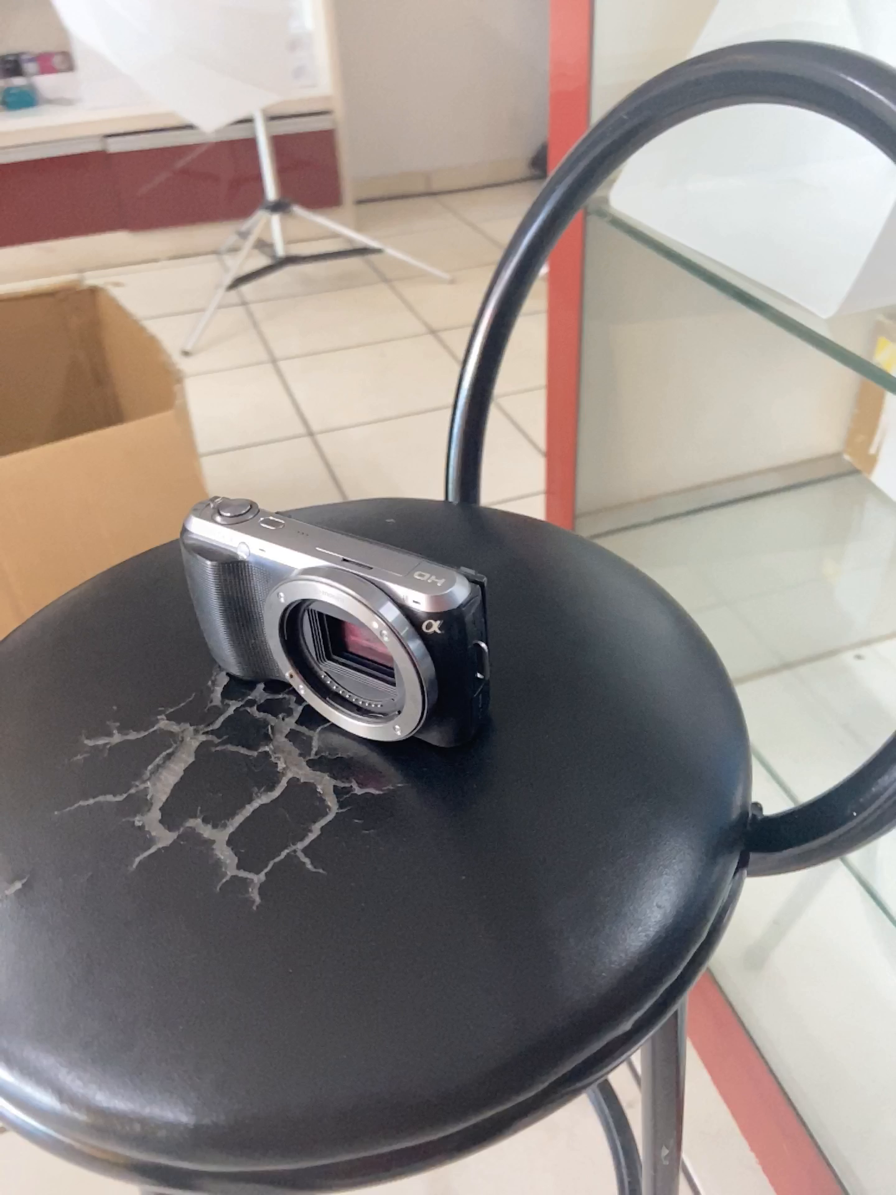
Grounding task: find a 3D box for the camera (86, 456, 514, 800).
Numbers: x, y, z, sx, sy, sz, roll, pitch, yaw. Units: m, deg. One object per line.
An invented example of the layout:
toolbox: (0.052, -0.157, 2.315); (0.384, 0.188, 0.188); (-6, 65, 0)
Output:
camera: (-0.043, 0.005, 0.278); (0.120, 0.060, 0.040); (17, 42, 26)
